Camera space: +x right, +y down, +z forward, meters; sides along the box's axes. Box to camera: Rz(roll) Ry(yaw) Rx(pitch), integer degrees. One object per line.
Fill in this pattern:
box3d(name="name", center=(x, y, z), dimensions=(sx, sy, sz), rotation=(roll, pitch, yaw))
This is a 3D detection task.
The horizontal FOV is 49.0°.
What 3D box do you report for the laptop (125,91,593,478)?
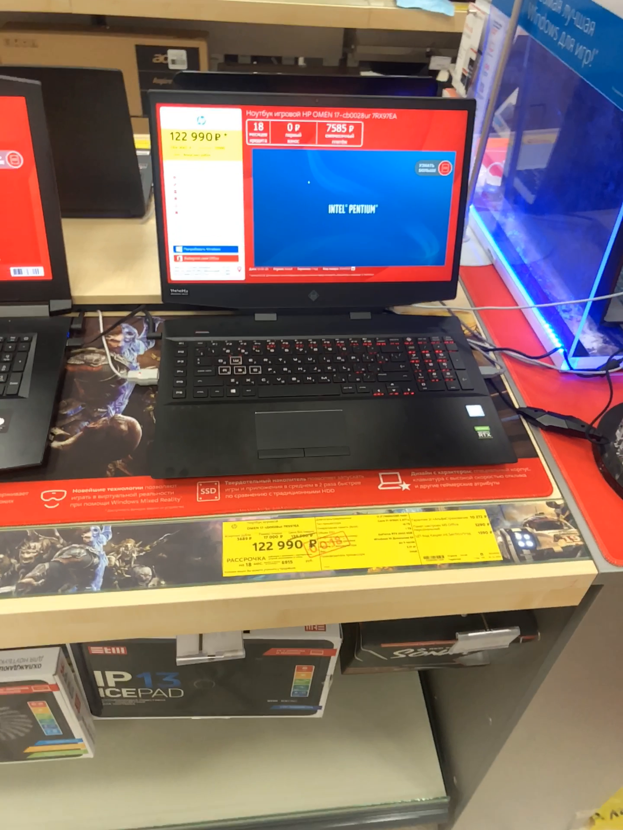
box3d(name="laptop", center=(0.021, -0.166, 0.779), dimensions=(0.391, 0.246, 0.377), rotation=(-2, 45, -6))
